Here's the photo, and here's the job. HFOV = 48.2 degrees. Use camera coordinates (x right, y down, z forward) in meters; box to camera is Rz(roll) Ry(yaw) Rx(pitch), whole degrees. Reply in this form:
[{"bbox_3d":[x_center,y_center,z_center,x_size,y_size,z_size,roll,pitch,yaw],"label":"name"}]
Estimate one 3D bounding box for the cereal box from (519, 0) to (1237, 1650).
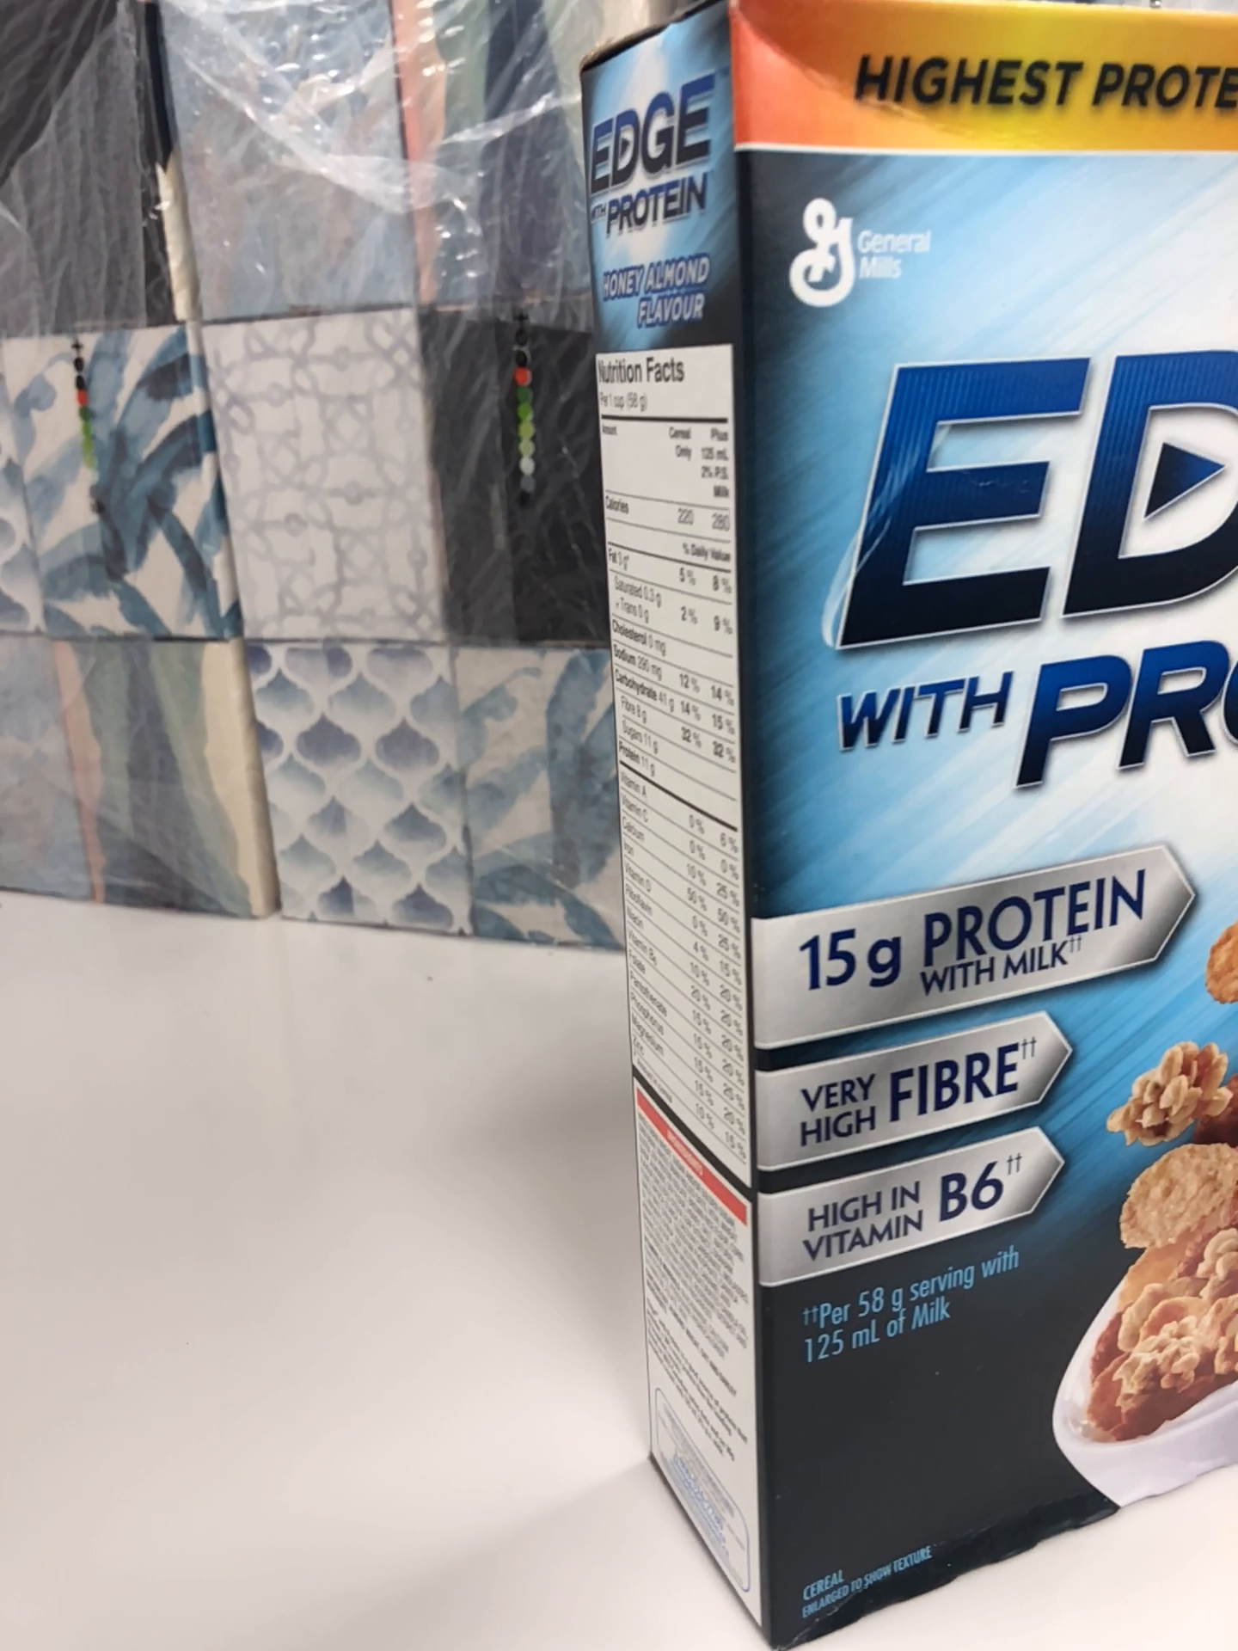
[{"bbox_3d":[0.094,0.004,0.260,0.200,0.279,0.050,-10,20,-21],"label":"cereal box"}]
